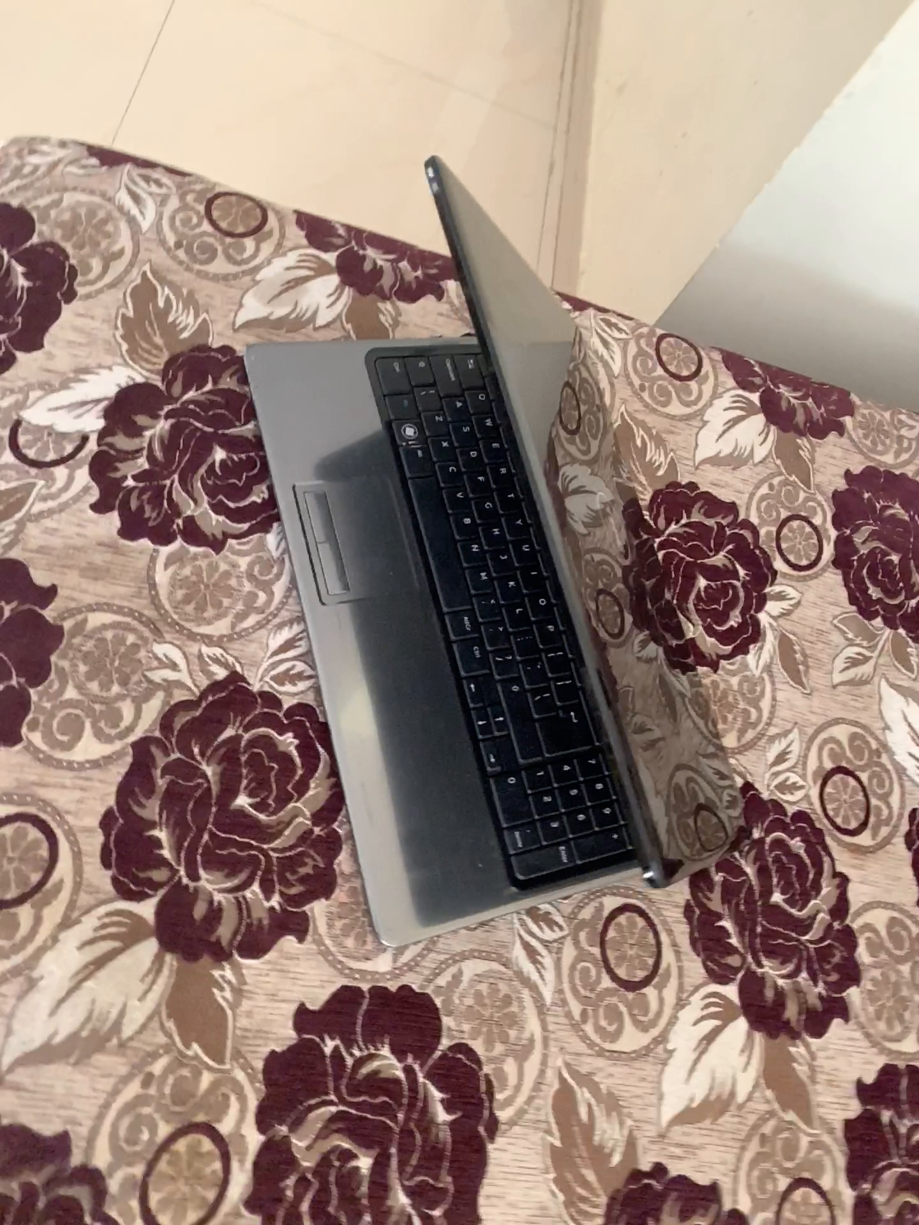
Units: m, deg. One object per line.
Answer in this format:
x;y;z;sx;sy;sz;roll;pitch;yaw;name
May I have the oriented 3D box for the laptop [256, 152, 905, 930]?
0.040;-0.047;0.520;0.221;0.155;0.364;-8;71;-23;laptop
